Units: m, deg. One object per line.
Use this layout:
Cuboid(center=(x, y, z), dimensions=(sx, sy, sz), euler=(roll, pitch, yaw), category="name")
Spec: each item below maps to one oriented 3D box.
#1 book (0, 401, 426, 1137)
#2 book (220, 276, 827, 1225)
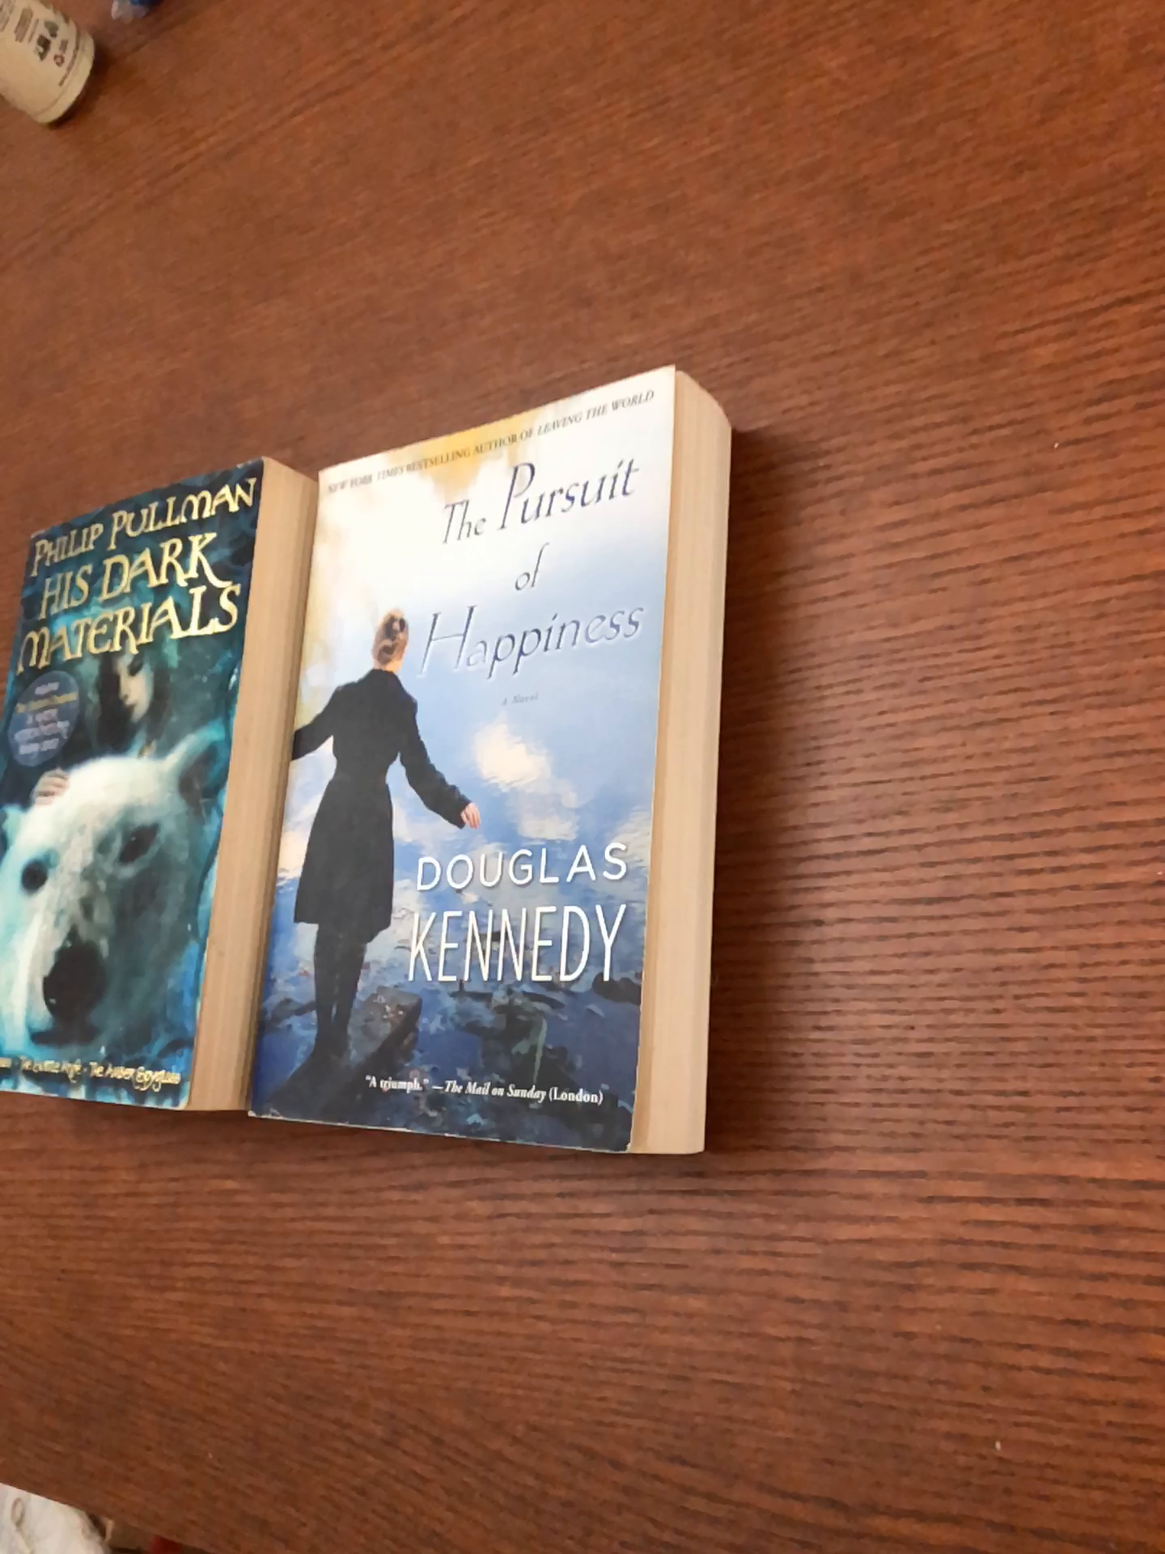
Cuboid(center=(-0.156, 0.001, 0.495), dimensions=(0.181, 0.050, 0.250), euler=(-5, 74, 34), category="book")
Cuboid(center=(-0.019, -0.006, 0.395), dimensions=(0.181, 0.040, 0.250), euler=(-5, 74, 34), category="book")
